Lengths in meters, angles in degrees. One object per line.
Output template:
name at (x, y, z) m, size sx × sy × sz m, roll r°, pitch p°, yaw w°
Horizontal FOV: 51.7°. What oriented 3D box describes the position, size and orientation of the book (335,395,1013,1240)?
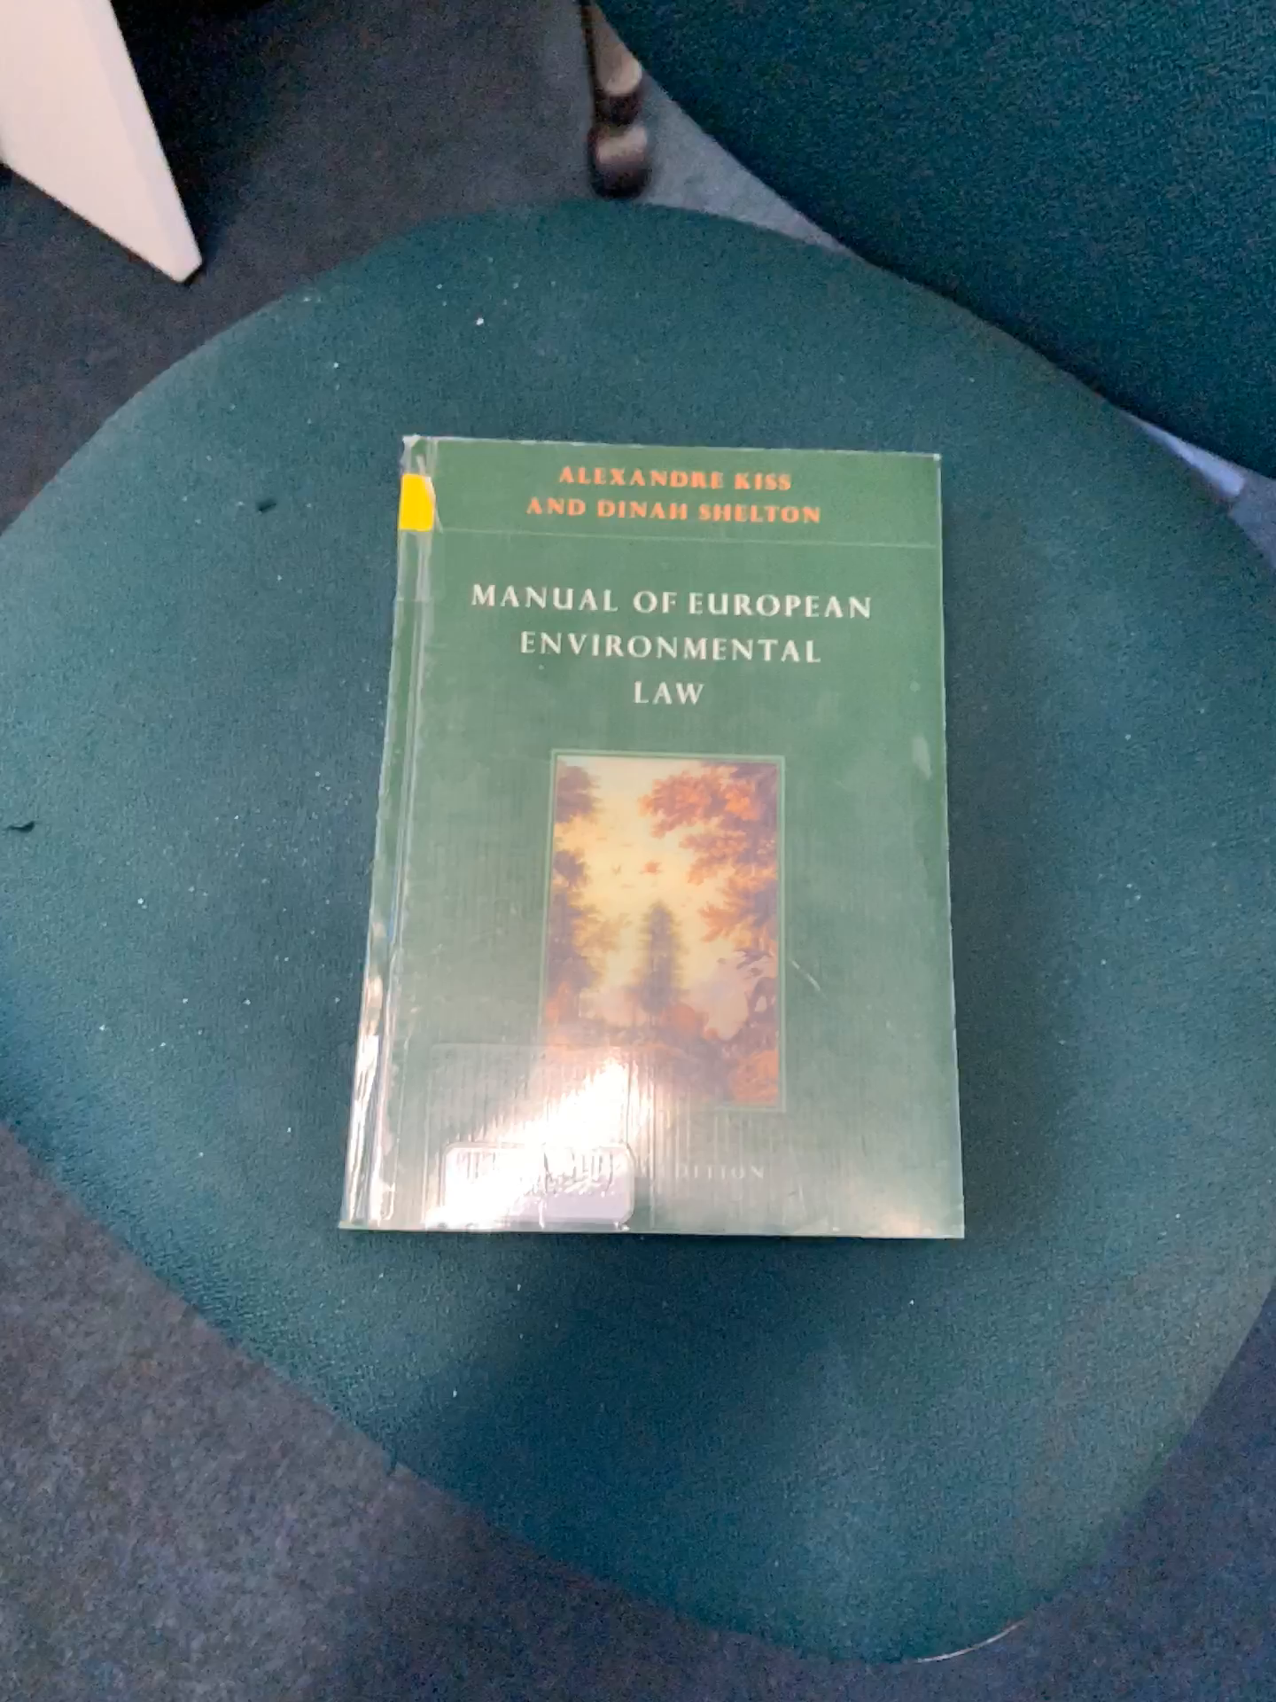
book at (0.010, -0.014, 0.400) m, size 0.180 × 0.040 × 0.251 m, roll 1°, pitch 75°, yaw -2°
